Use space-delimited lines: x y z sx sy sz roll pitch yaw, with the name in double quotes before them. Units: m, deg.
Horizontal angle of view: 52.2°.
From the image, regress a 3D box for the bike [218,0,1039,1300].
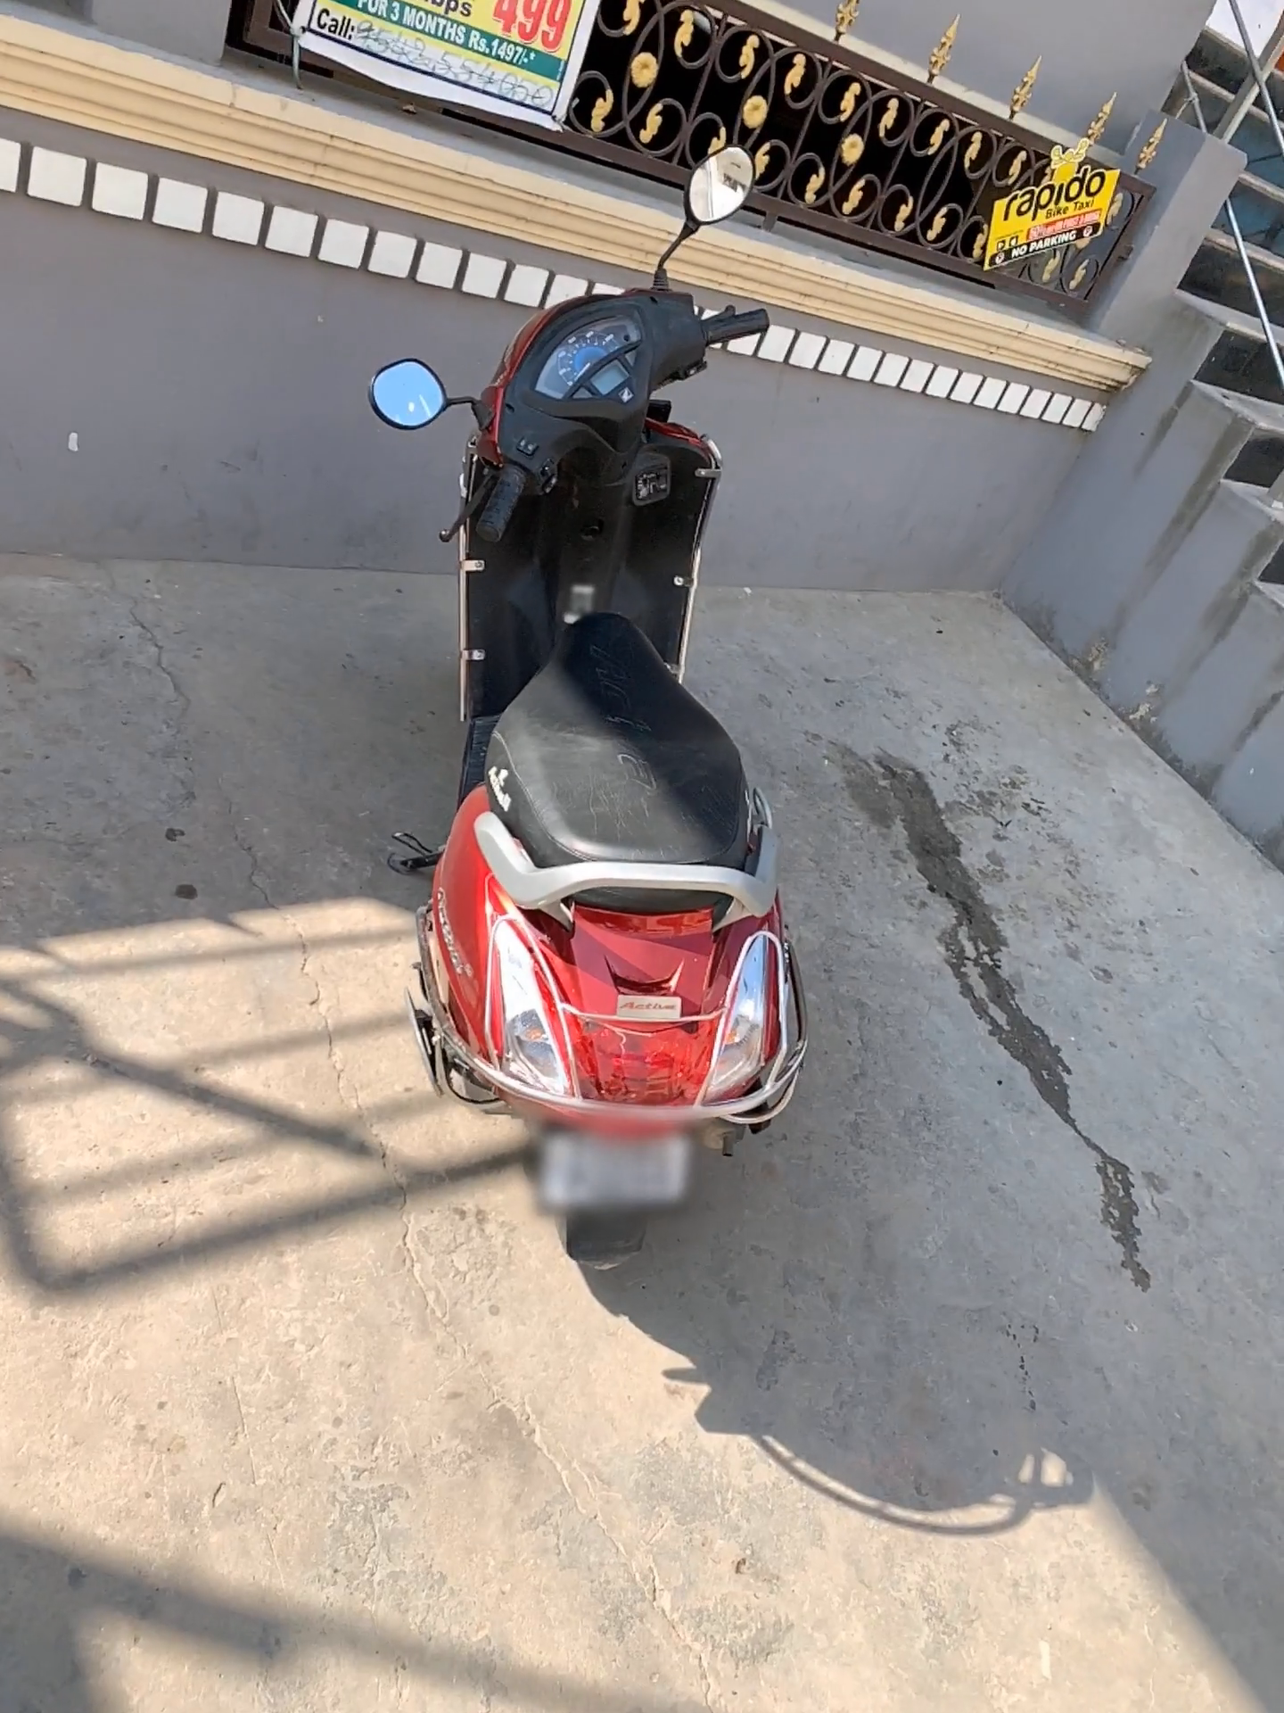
"bike" -0.256 -0.446 2.191 0.623 1.164 1.761 9 40 -23
